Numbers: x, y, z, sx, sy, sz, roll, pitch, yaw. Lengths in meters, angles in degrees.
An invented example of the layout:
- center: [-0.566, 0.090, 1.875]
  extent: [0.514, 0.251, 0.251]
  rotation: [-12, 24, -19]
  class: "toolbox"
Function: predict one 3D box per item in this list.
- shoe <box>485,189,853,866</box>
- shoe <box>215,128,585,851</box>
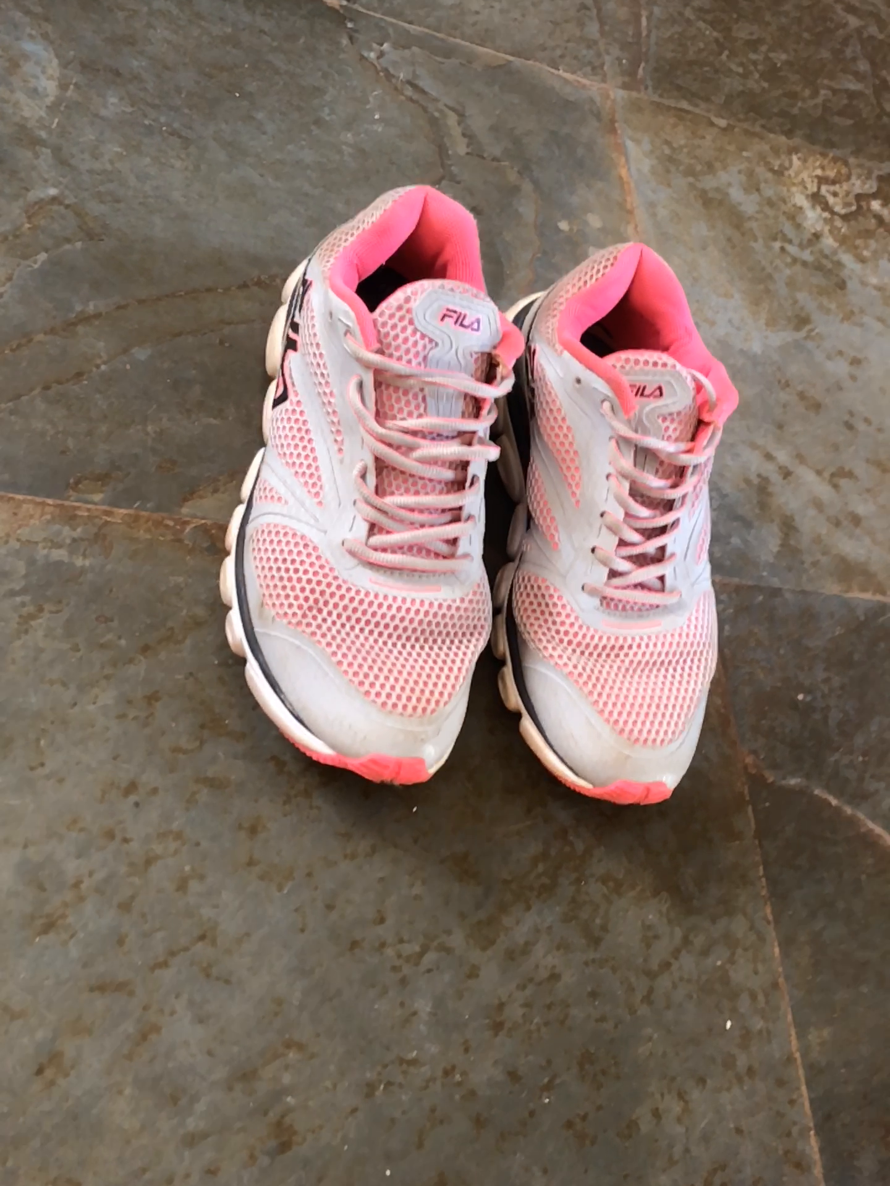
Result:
- center: [0.089, -0.032, 0.461]
  extent: [0.110, 0.099, 0.291]
  rotation: [10, 63, -18]
  class: "shoe"
- center: [-0.025, -0.043, 0.417]
  extent: [0.110, 0.099, 0.281]
  rotation: [7, 64, -19]
  class: "shoe"
